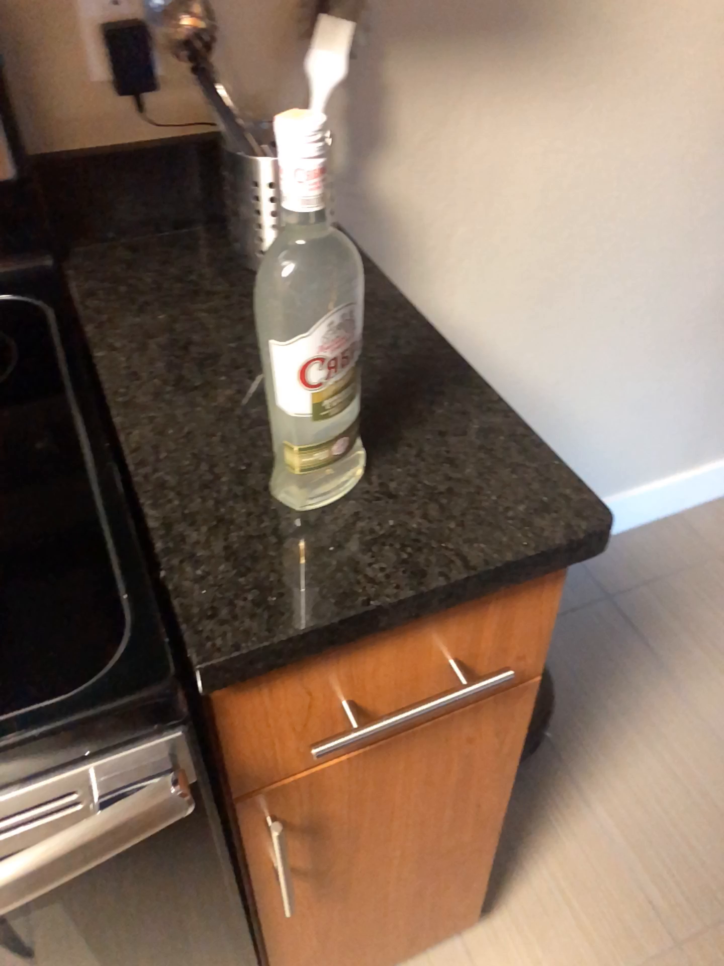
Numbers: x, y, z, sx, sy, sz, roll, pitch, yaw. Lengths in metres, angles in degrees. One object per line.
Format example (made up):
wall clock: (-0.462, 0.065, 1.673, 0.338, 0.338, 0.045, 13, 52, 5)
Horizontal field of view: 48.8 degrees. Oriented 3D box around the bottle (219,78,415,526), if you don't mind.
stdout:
bottle: (-0.025, -0.105, 0.525, 0.090, 0.269, 0.060, -32, 51, -31)
